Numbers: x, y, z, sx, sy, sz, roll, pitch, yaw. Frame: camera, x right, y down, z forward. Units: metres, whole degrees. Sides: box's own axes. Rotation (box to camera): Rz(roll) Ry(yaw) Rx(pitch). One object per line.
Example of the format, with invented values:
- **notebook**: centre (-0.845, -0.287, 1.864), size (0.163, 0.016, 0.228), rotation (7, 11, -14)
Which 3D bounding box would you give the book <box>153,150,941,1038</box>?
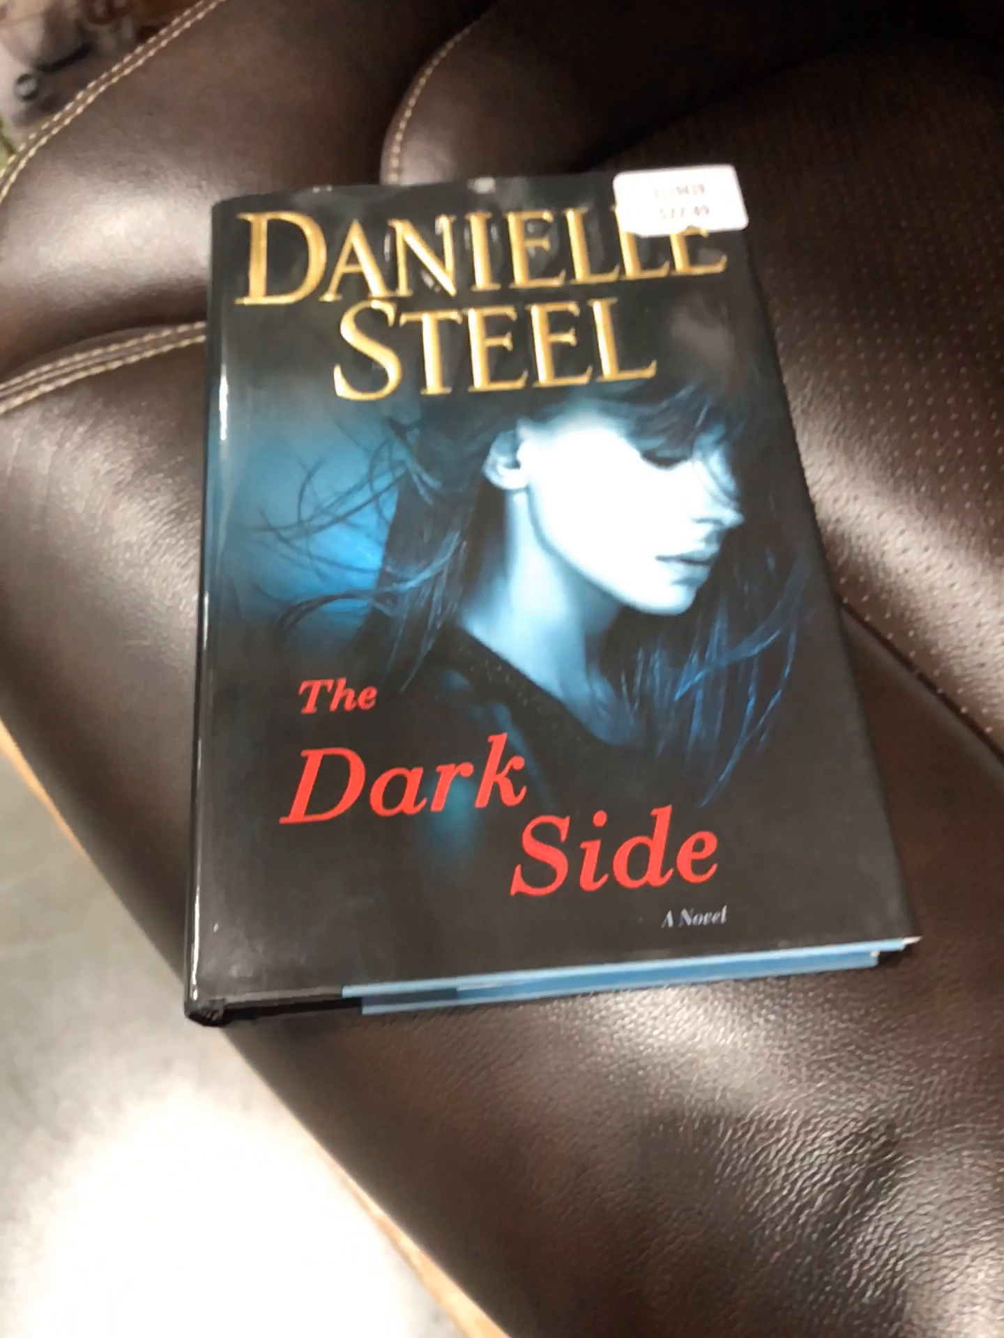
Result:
- **book**: centre (0.000, -0.034, 0.306), size (0.168, 0.040, 0.238), rotation (-5, 66, -2)
